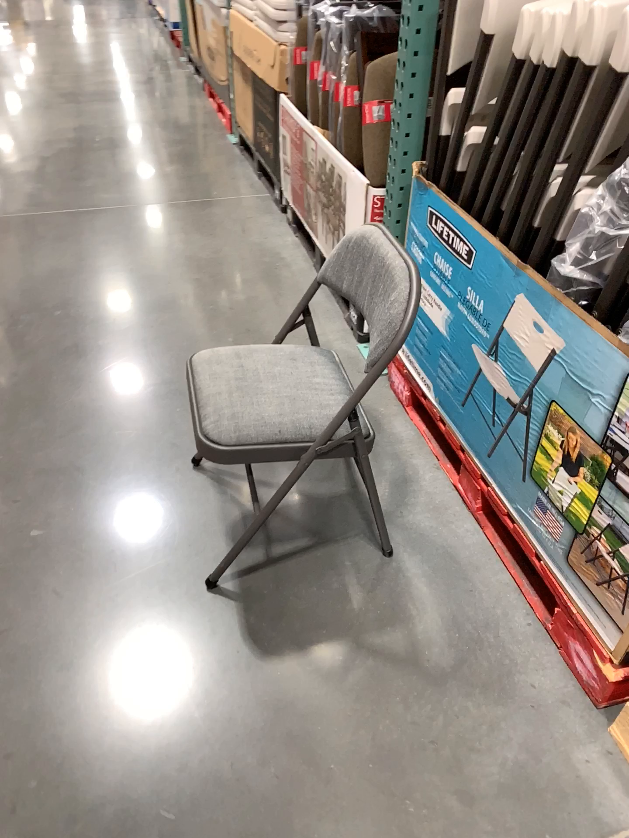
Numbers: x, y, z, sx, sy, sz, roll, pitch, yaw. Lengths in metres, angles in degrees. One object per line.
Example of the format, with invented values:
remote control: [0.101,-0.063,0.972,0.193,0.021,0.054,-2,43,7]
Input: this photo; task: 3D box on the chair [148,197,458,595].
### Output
chair: [-0.065,-0.058,1.454,0.502,0.687,0.497,-8,40,-12]
